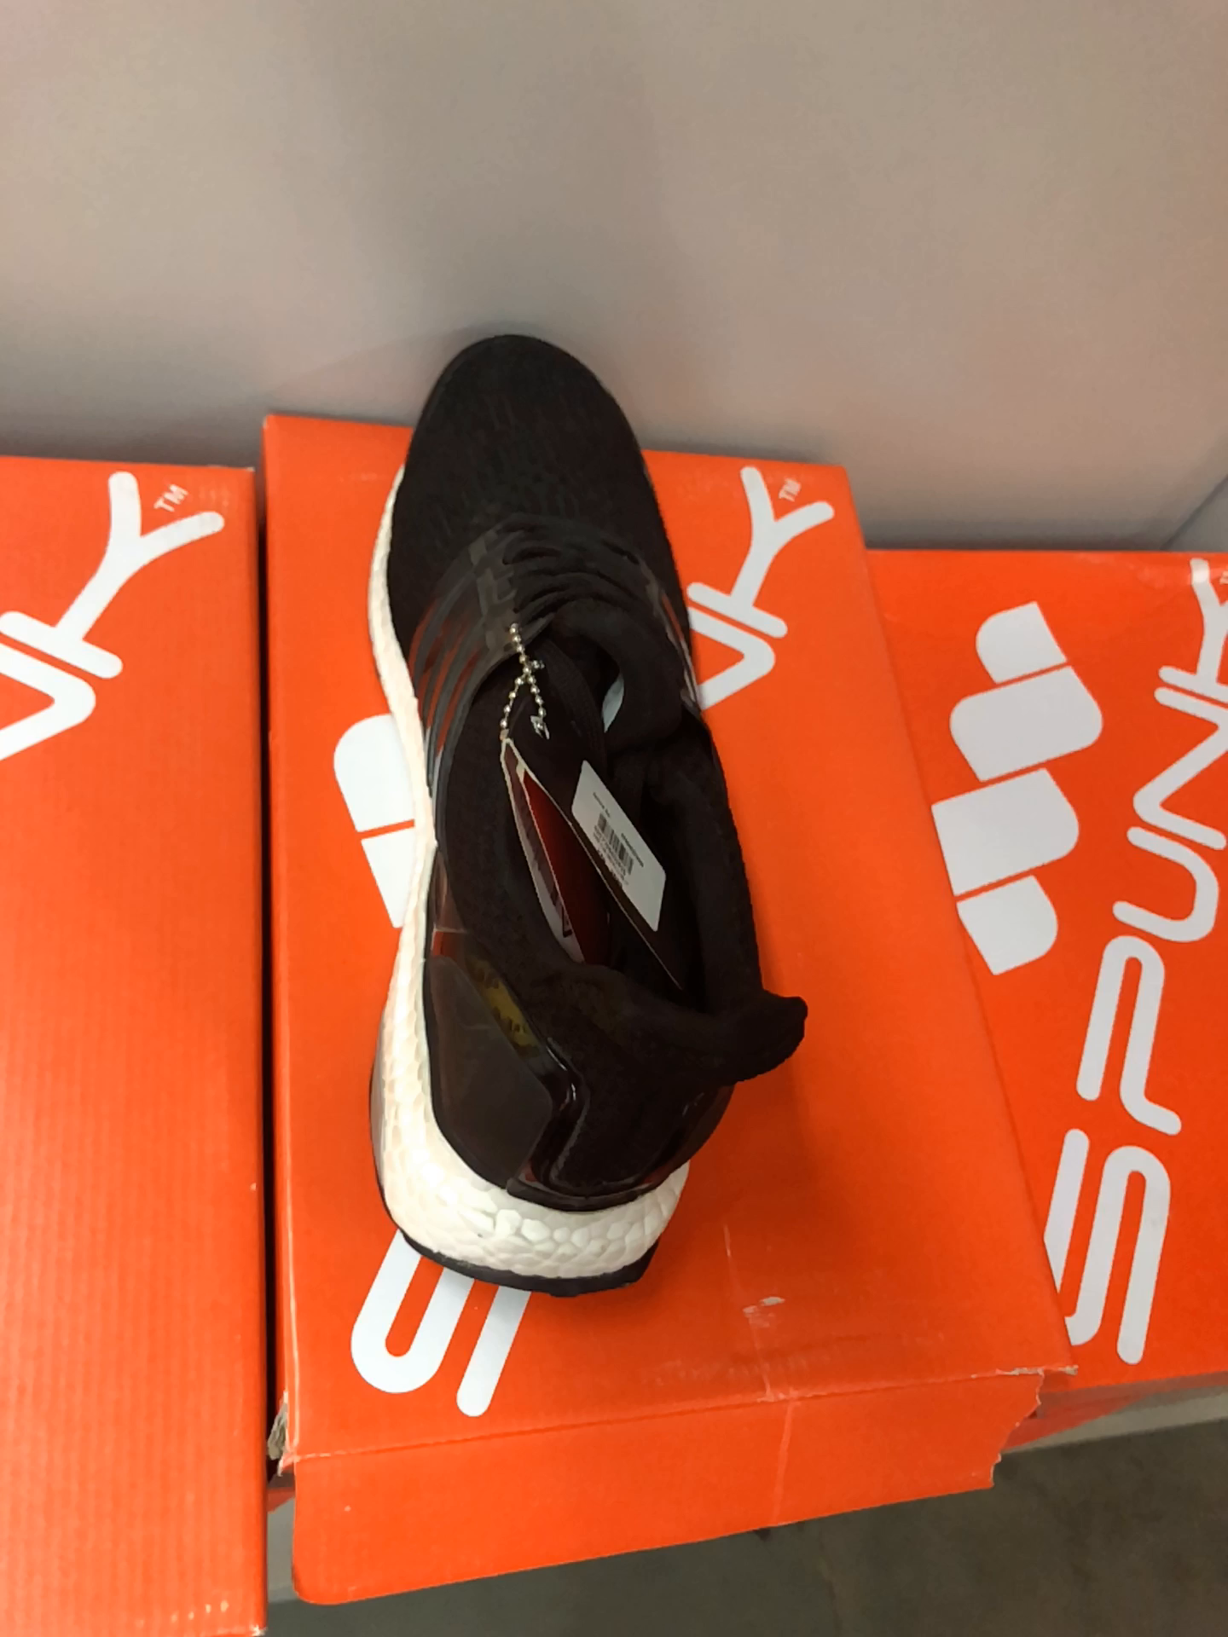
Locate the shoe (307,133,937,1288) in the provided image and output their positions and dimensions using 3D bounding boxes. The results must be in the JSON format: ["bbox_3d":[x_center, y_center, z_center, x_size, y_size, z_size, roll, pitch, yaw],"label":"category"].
[{"bbox_3d":[-0.010,-0.029,0.383,0.117,0.120,0.290,7,63,-16],"label":"shoe"}]
